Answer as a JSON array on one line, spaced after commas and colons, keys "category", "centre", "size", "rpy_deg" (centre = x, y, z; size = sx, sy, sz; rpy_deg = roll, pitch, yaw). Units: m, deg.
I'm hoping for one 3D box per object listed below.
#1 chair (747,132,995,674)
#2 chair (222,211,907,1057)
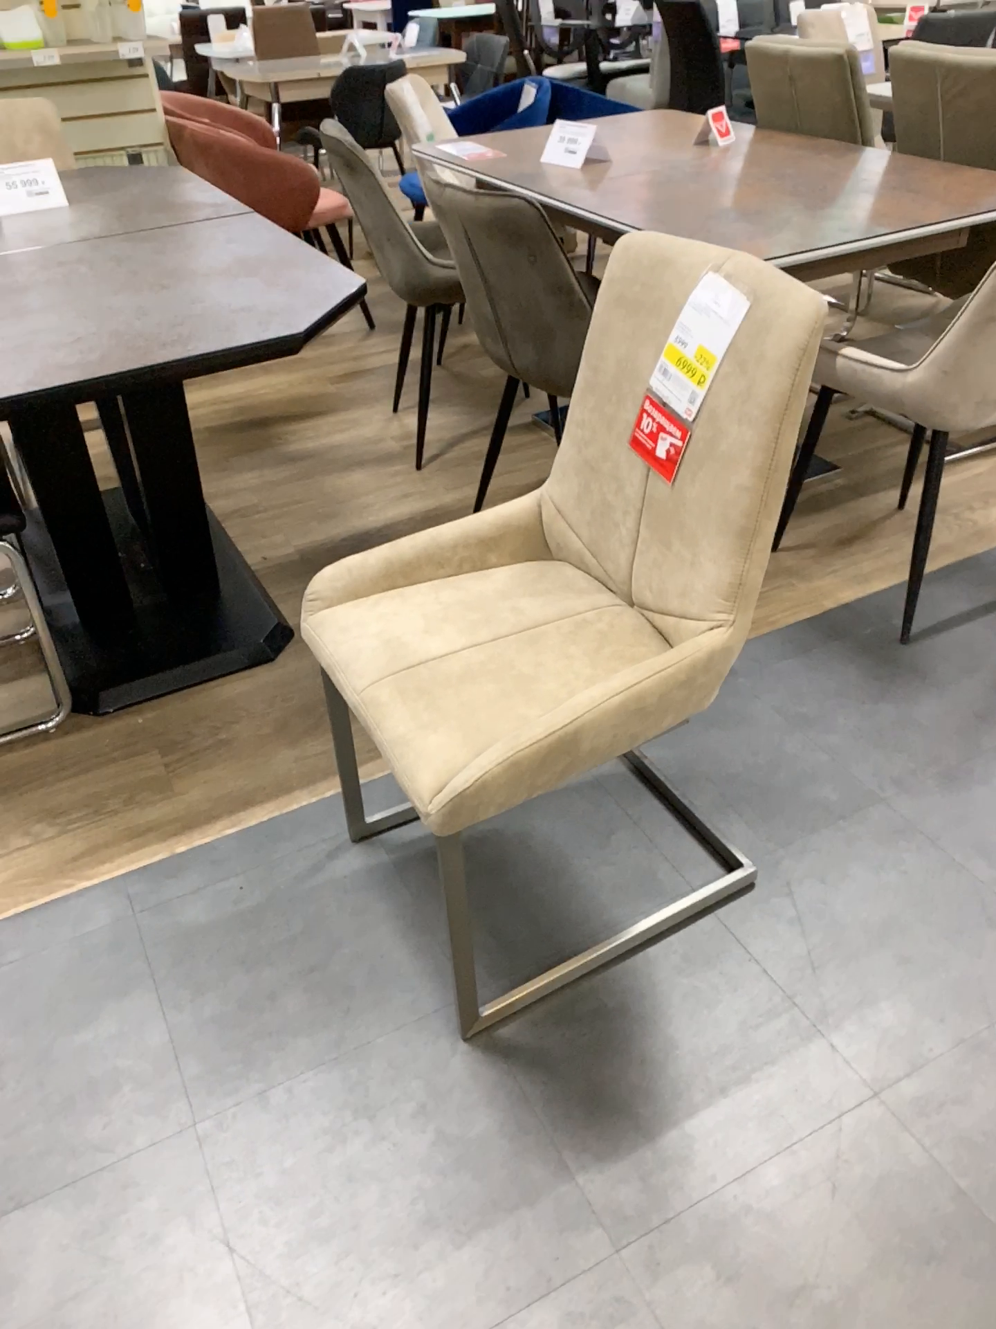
[{"category": "chair", "centre": [0.937, -0.552, 2.084], "size": [0.481, 0.842, 0.626], "rpy_deg": [-18, 38, -20]}, {"category": "chair", "centre": [0.067, -0.059, 1.394], "size": [0.584, 0.887, 0.512], "rpy_deg": [-19, 38, -21]}]
